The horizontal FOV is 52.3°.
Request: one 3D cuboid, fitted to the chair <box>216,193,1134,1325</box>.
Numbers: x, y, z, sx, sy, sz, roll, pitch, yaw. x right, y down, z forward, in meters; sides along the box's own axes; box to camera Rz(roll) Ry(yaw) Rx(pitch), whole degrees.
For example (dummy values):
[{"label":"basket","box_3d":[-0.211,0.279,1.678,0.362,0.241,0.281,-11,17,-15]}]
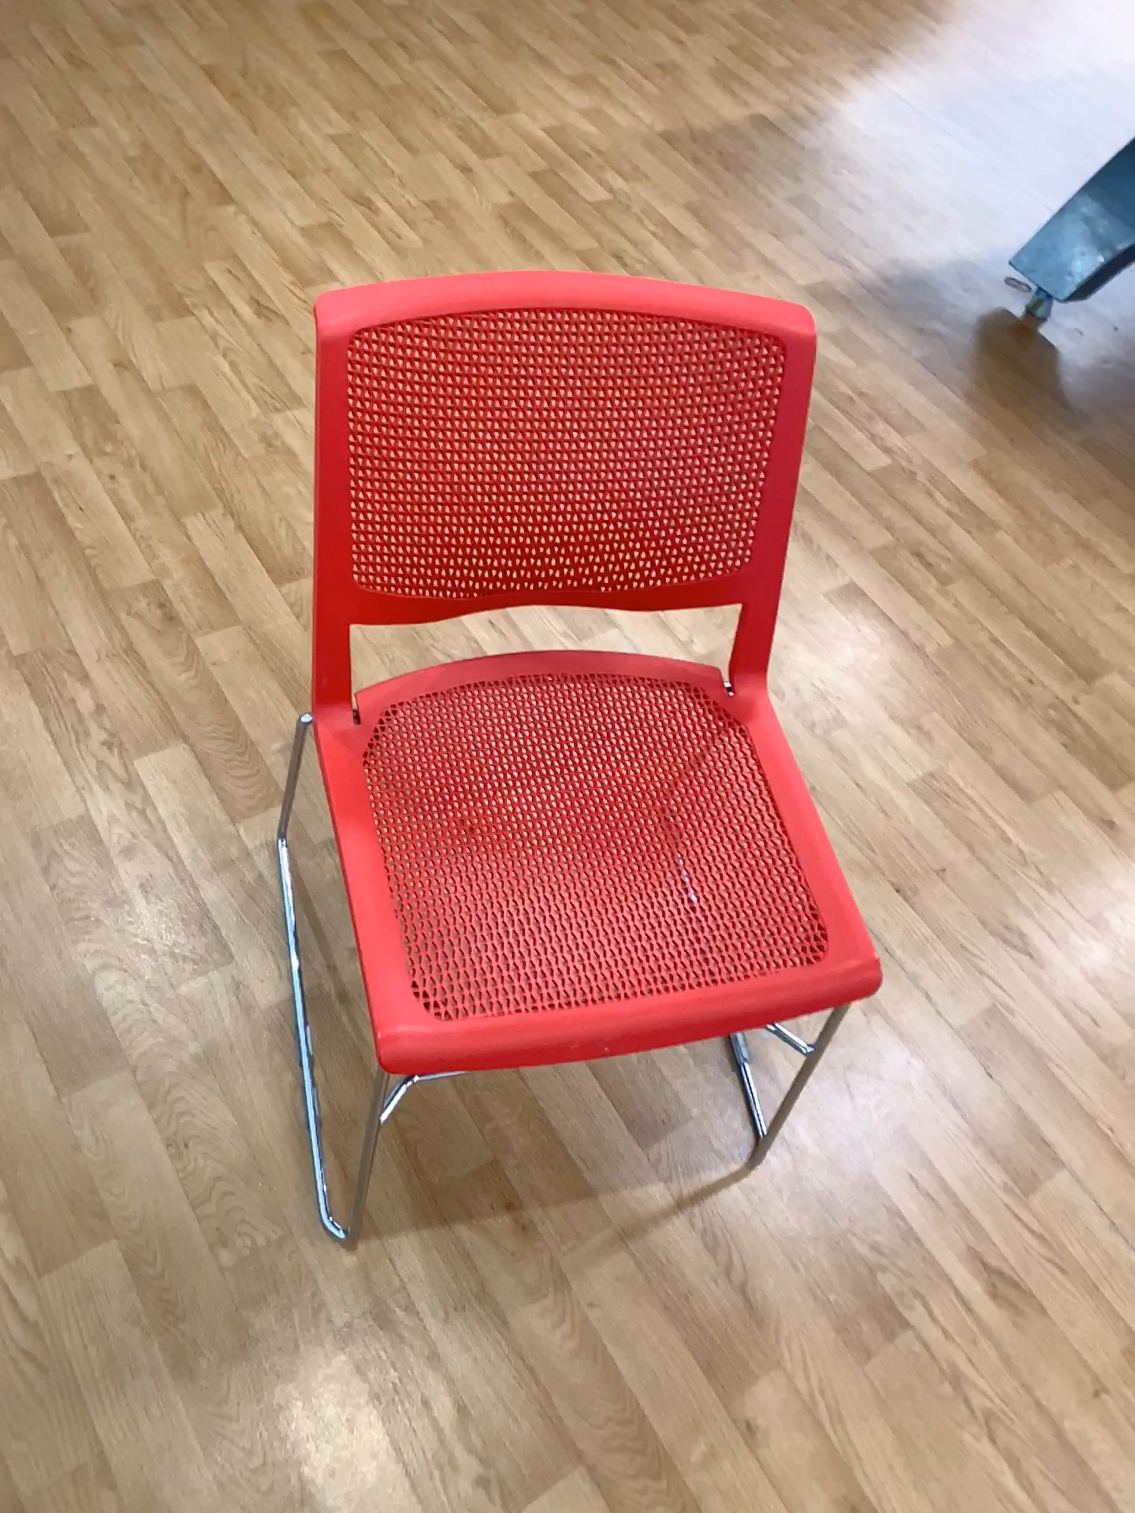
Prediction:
[{"label":"chair","box_3d":[0.048,0.026,1.005,0.601,0.705,0.593,-5,54,-17]}]
